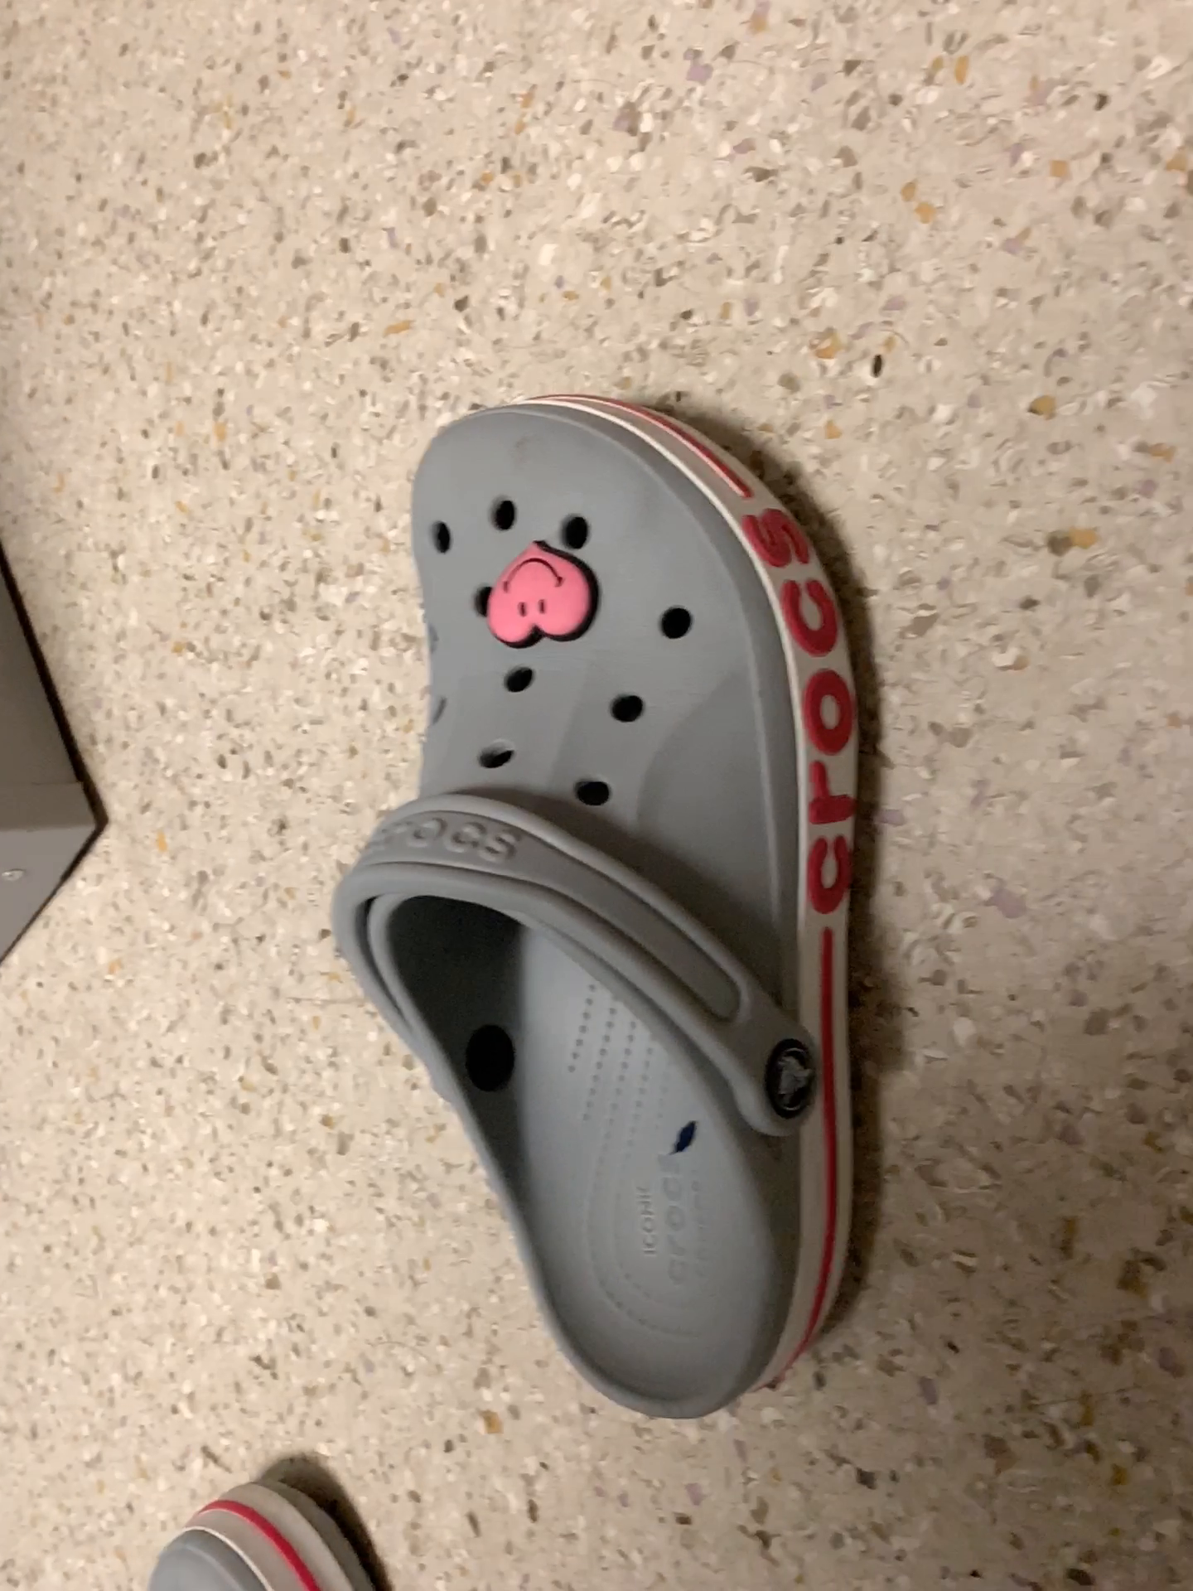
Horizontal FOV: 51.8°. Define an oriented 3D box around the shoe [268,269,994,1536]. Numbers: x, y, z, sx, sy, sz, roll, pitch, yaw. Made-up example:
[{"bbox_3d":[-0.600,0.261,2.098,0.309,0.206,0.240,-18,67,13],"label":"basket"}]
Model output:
[{"bbox_3d":[0.006,0.021,0.288,0.110,0.091,0.226,-11,84,39],"label":"shoe"}]
